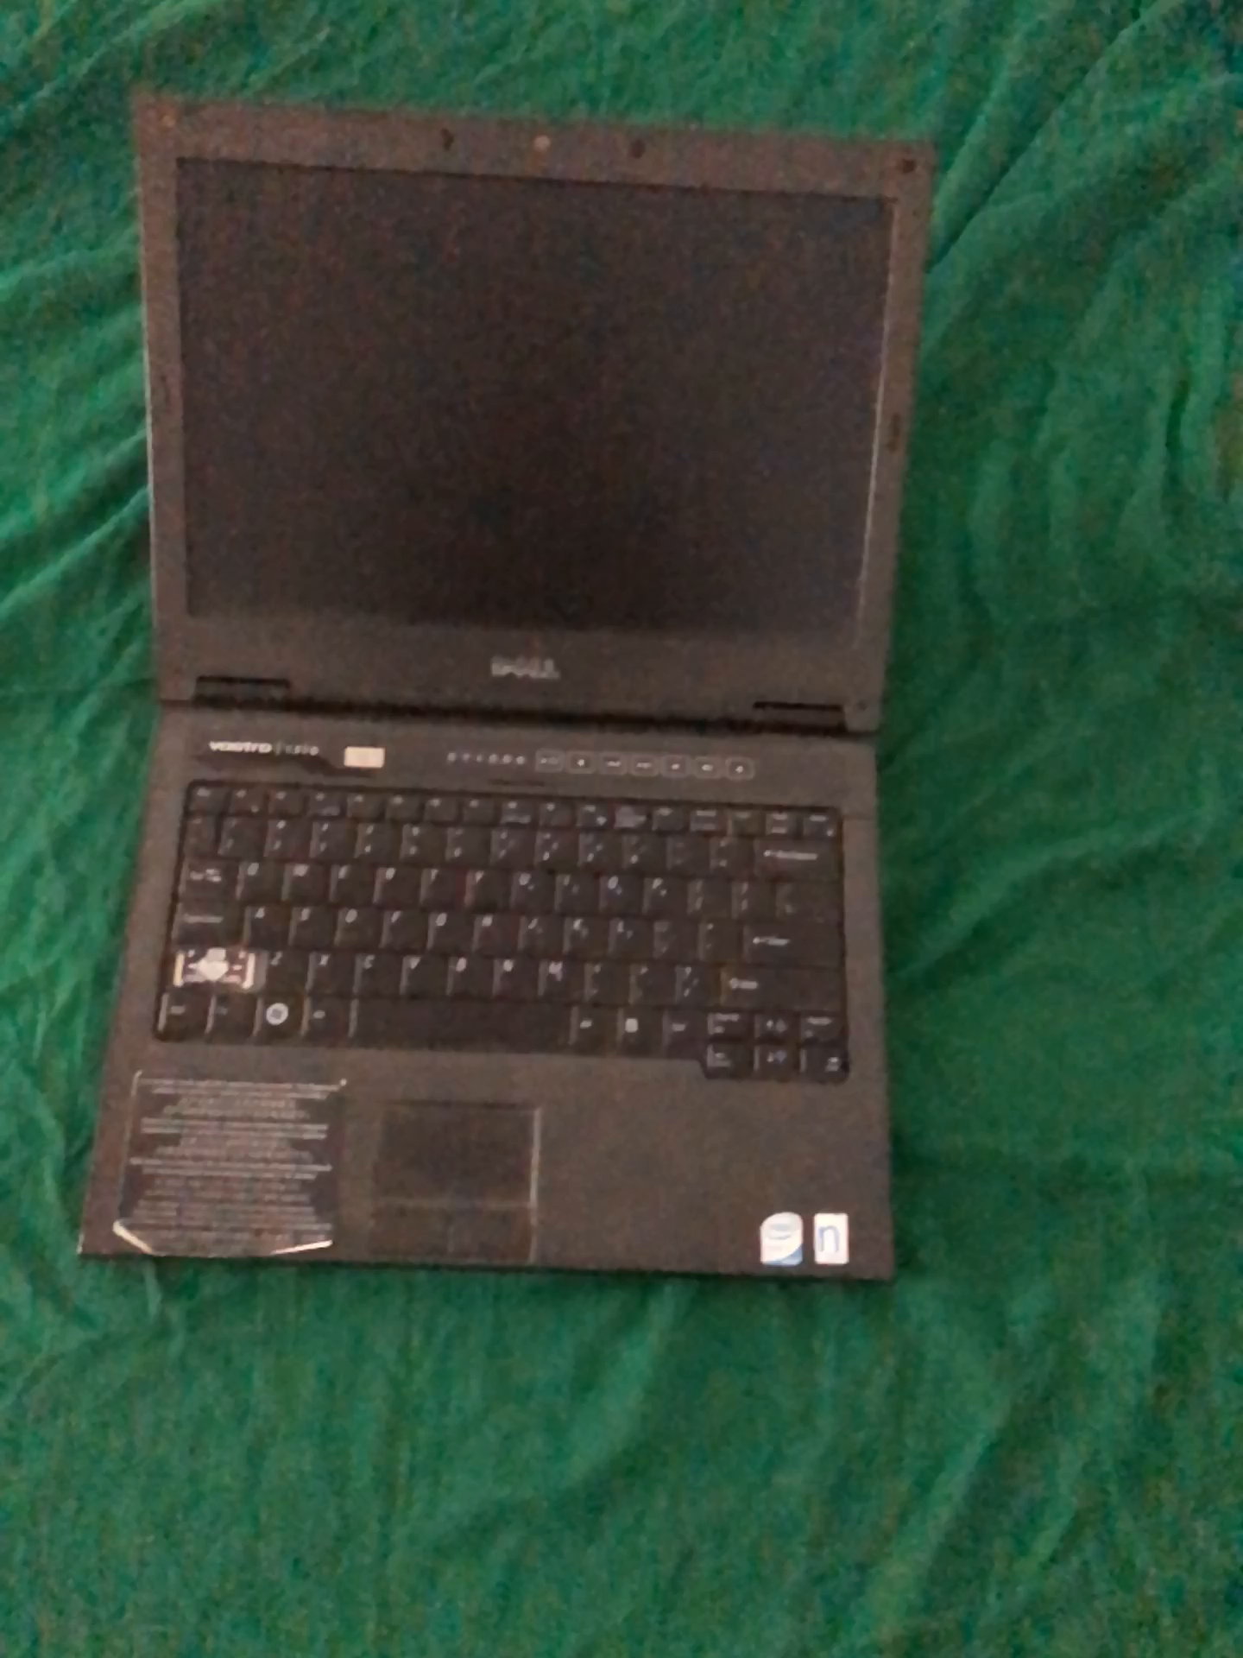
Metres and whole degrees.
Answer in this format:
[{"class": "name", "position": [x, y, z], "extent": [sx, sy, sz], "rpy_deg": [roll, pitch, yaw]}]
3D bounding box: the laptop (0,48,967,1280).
[{"class": "laptop", "position": [-0.041, -0.061, 0.531], "extent": [0.313, 0.127, 0.439], "rpy_deg": [3, 76, 0]}]
